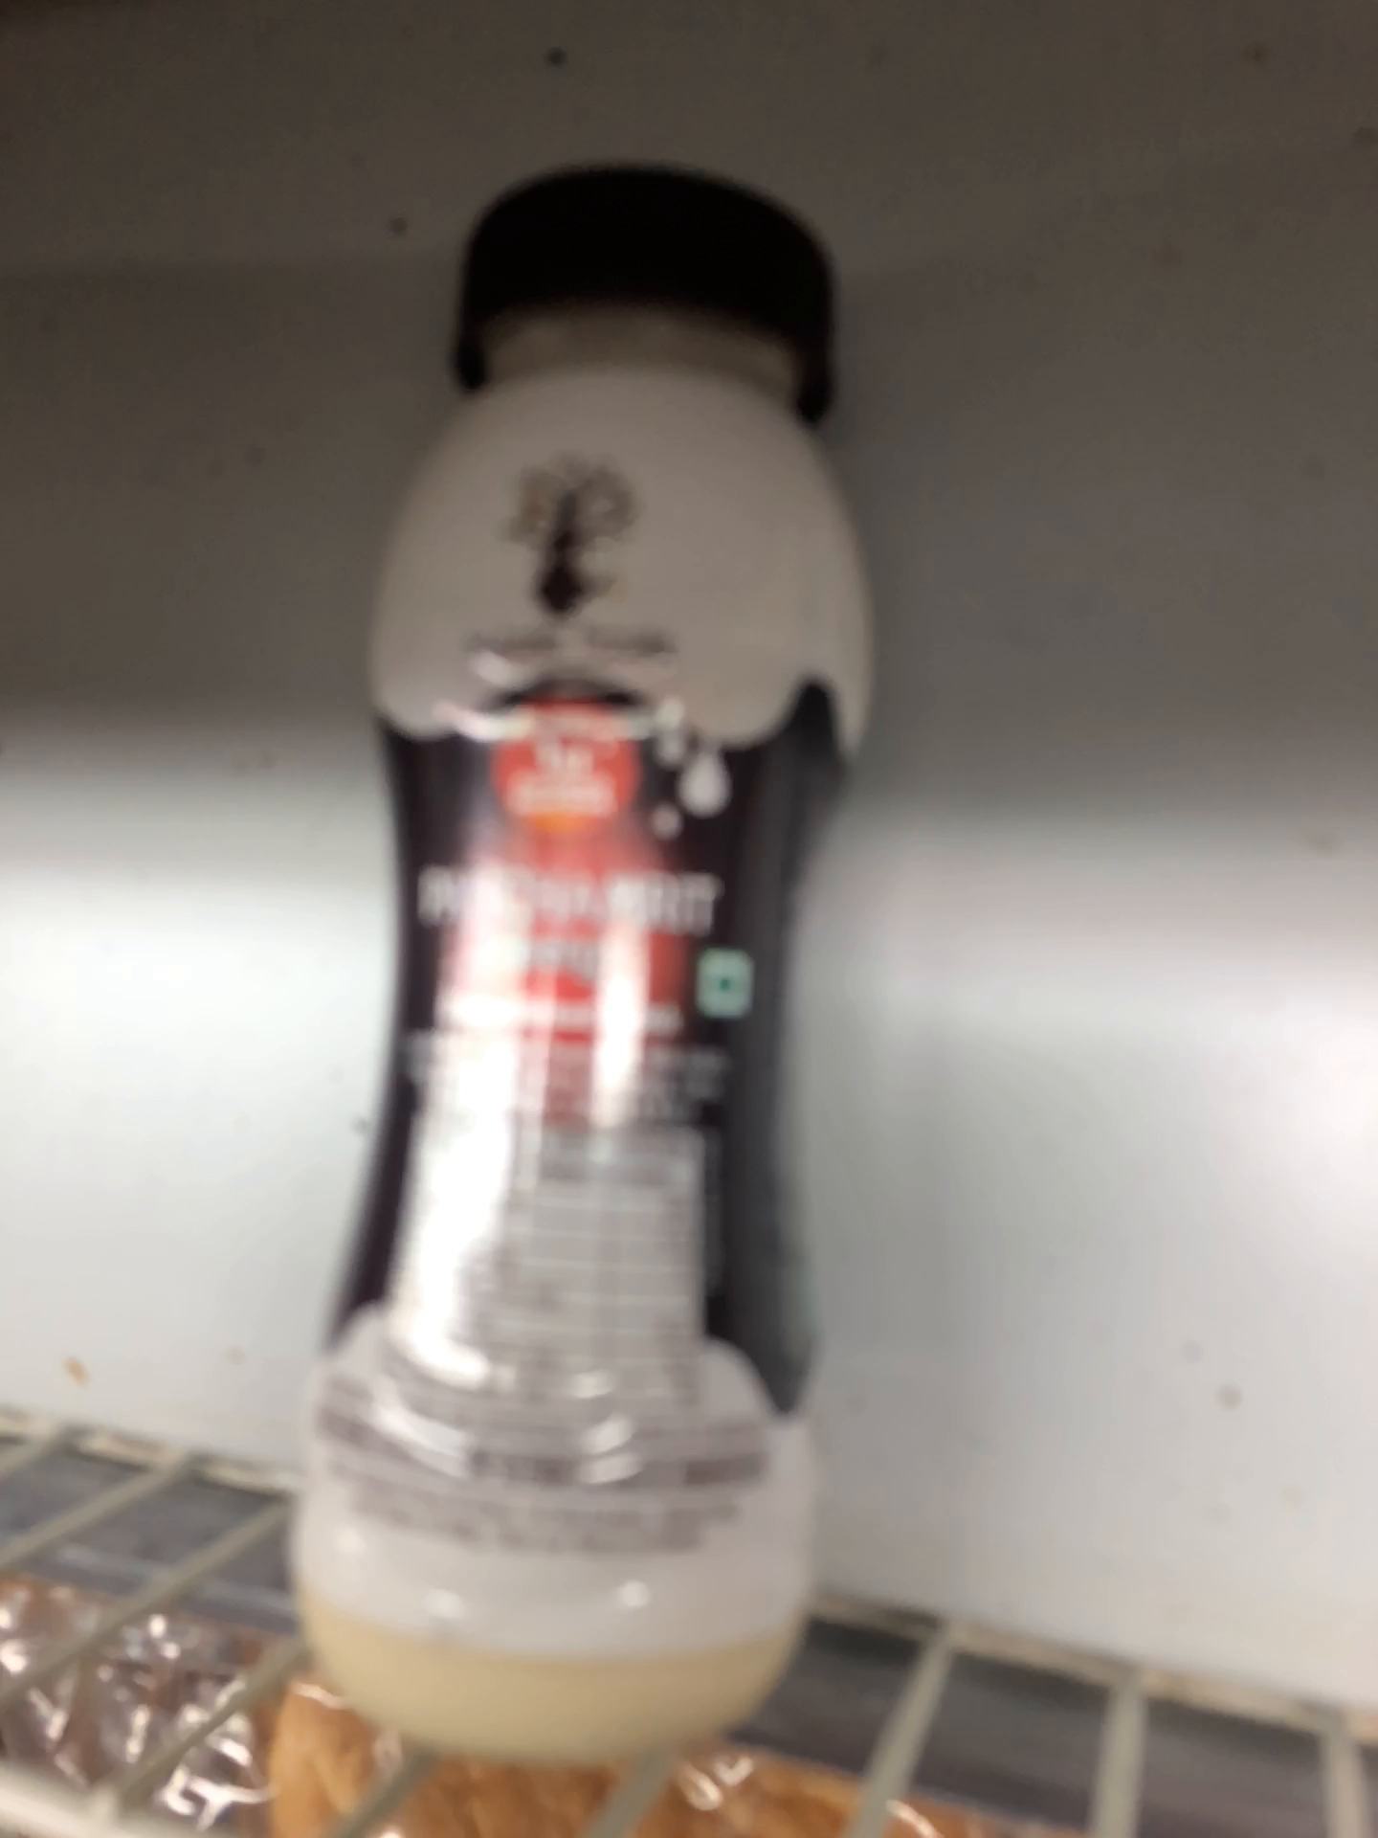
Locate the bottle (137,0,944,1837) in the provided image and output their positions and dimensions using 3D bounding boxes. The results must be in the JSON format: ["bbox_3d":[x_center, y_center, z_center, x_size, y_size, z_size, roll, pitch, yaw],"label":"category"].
[{"bbox_3d":[-0.008,-0.006,0.158,0.060,0.060,0.160,3,86,10],"label":"bottle"}]
